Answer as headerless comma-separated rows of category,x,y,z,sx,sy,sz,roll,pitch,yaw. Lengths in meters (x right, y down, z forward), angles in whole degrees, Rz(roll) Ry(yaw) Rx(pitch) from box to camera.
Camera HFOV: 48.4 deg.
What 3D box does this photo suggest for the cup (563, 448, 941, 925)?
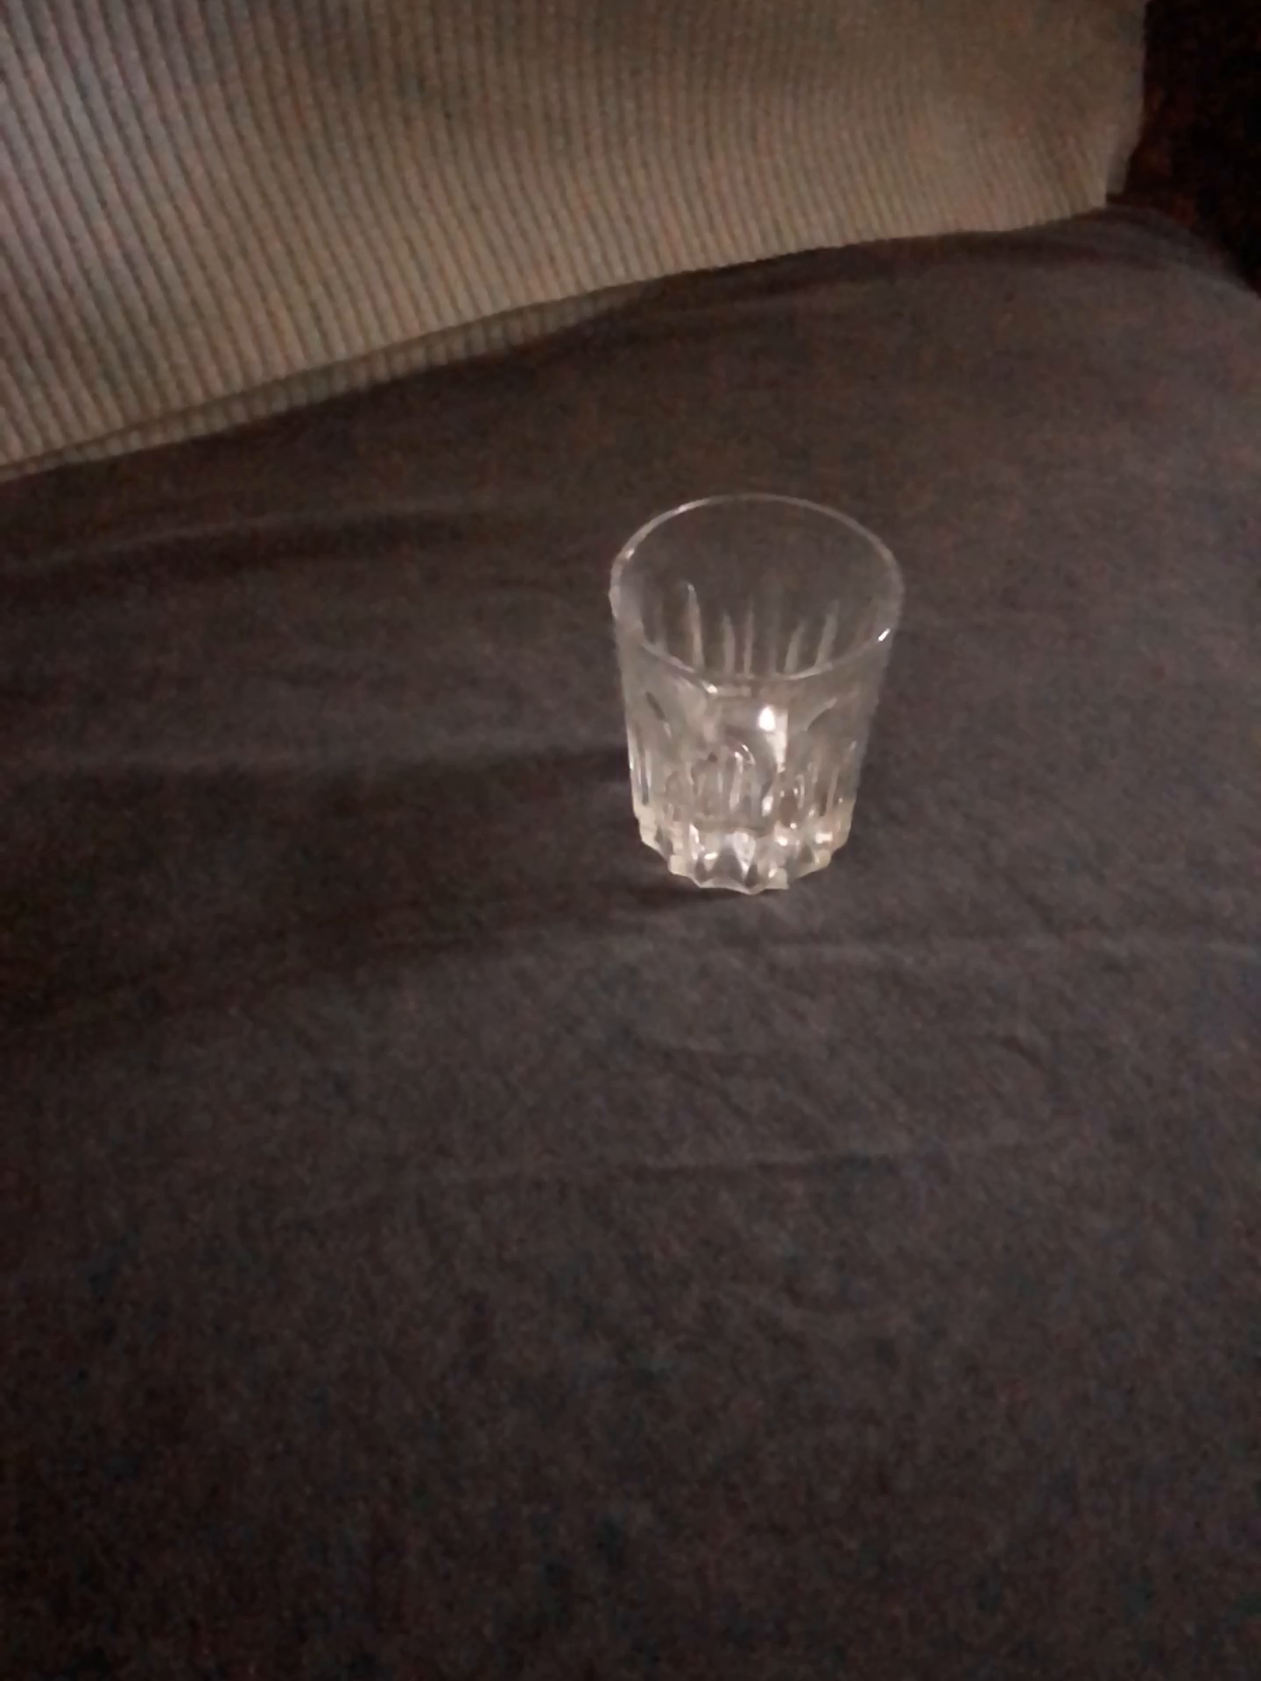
cup,0.022,-0.032,0.299,0.059,0.078,0.048,-14,49,-12
